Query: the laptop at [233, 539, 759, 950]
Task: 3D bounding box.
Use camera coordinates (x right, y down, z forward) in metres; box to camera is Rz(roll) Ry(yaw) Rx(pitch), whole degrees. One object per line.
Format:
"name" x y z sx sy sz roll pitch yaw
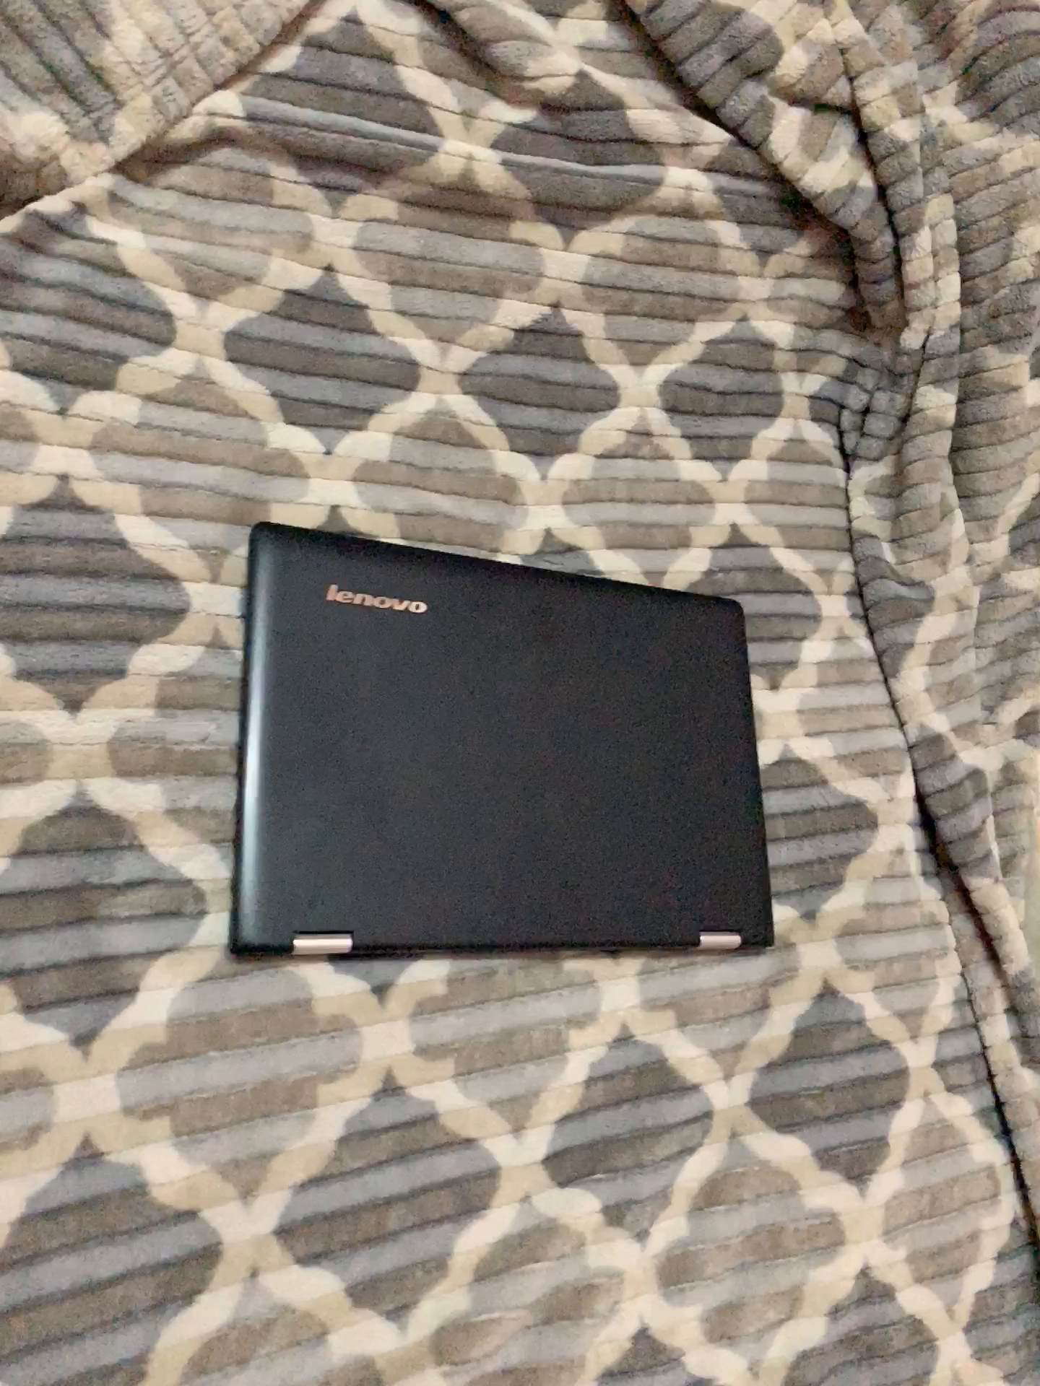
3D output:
"laptop" 0.003 0.038 0.649 0.339 0.003 0.228 6 73 -26
